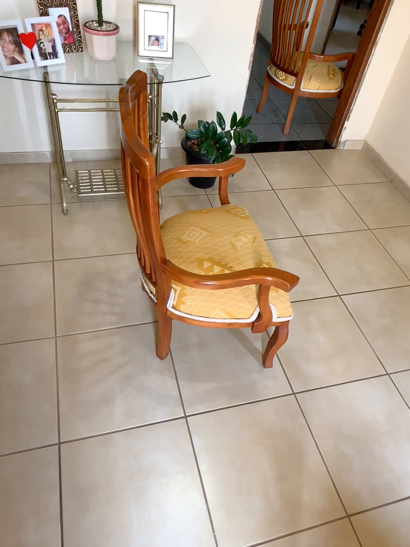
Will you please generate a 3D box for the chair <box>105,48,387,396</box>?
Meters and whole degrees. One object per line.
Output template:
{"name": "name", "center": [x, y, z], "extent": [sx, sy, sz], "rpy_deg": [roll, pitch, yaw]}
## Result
{"name": "chair", "center": [0.008, -0.140, 1.505], "extent": [0.631, 1.015, 0.623], "rpy_deg": [-5, 47, -14]}
